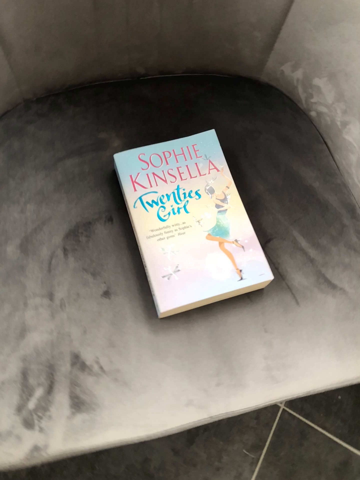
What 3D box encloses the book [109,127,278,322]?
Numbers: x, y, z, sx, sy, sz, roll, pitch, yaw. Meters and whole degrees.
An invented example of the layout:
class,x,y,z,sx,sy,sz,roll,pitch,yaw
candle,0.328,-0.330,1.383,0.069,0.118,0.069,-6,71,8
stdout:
class,x,y,z,sx,sy,sz,roll,pitch,yaw
book,0.009,-0.025,0.458,0.132,0.043,0.200,-14,70,-13
